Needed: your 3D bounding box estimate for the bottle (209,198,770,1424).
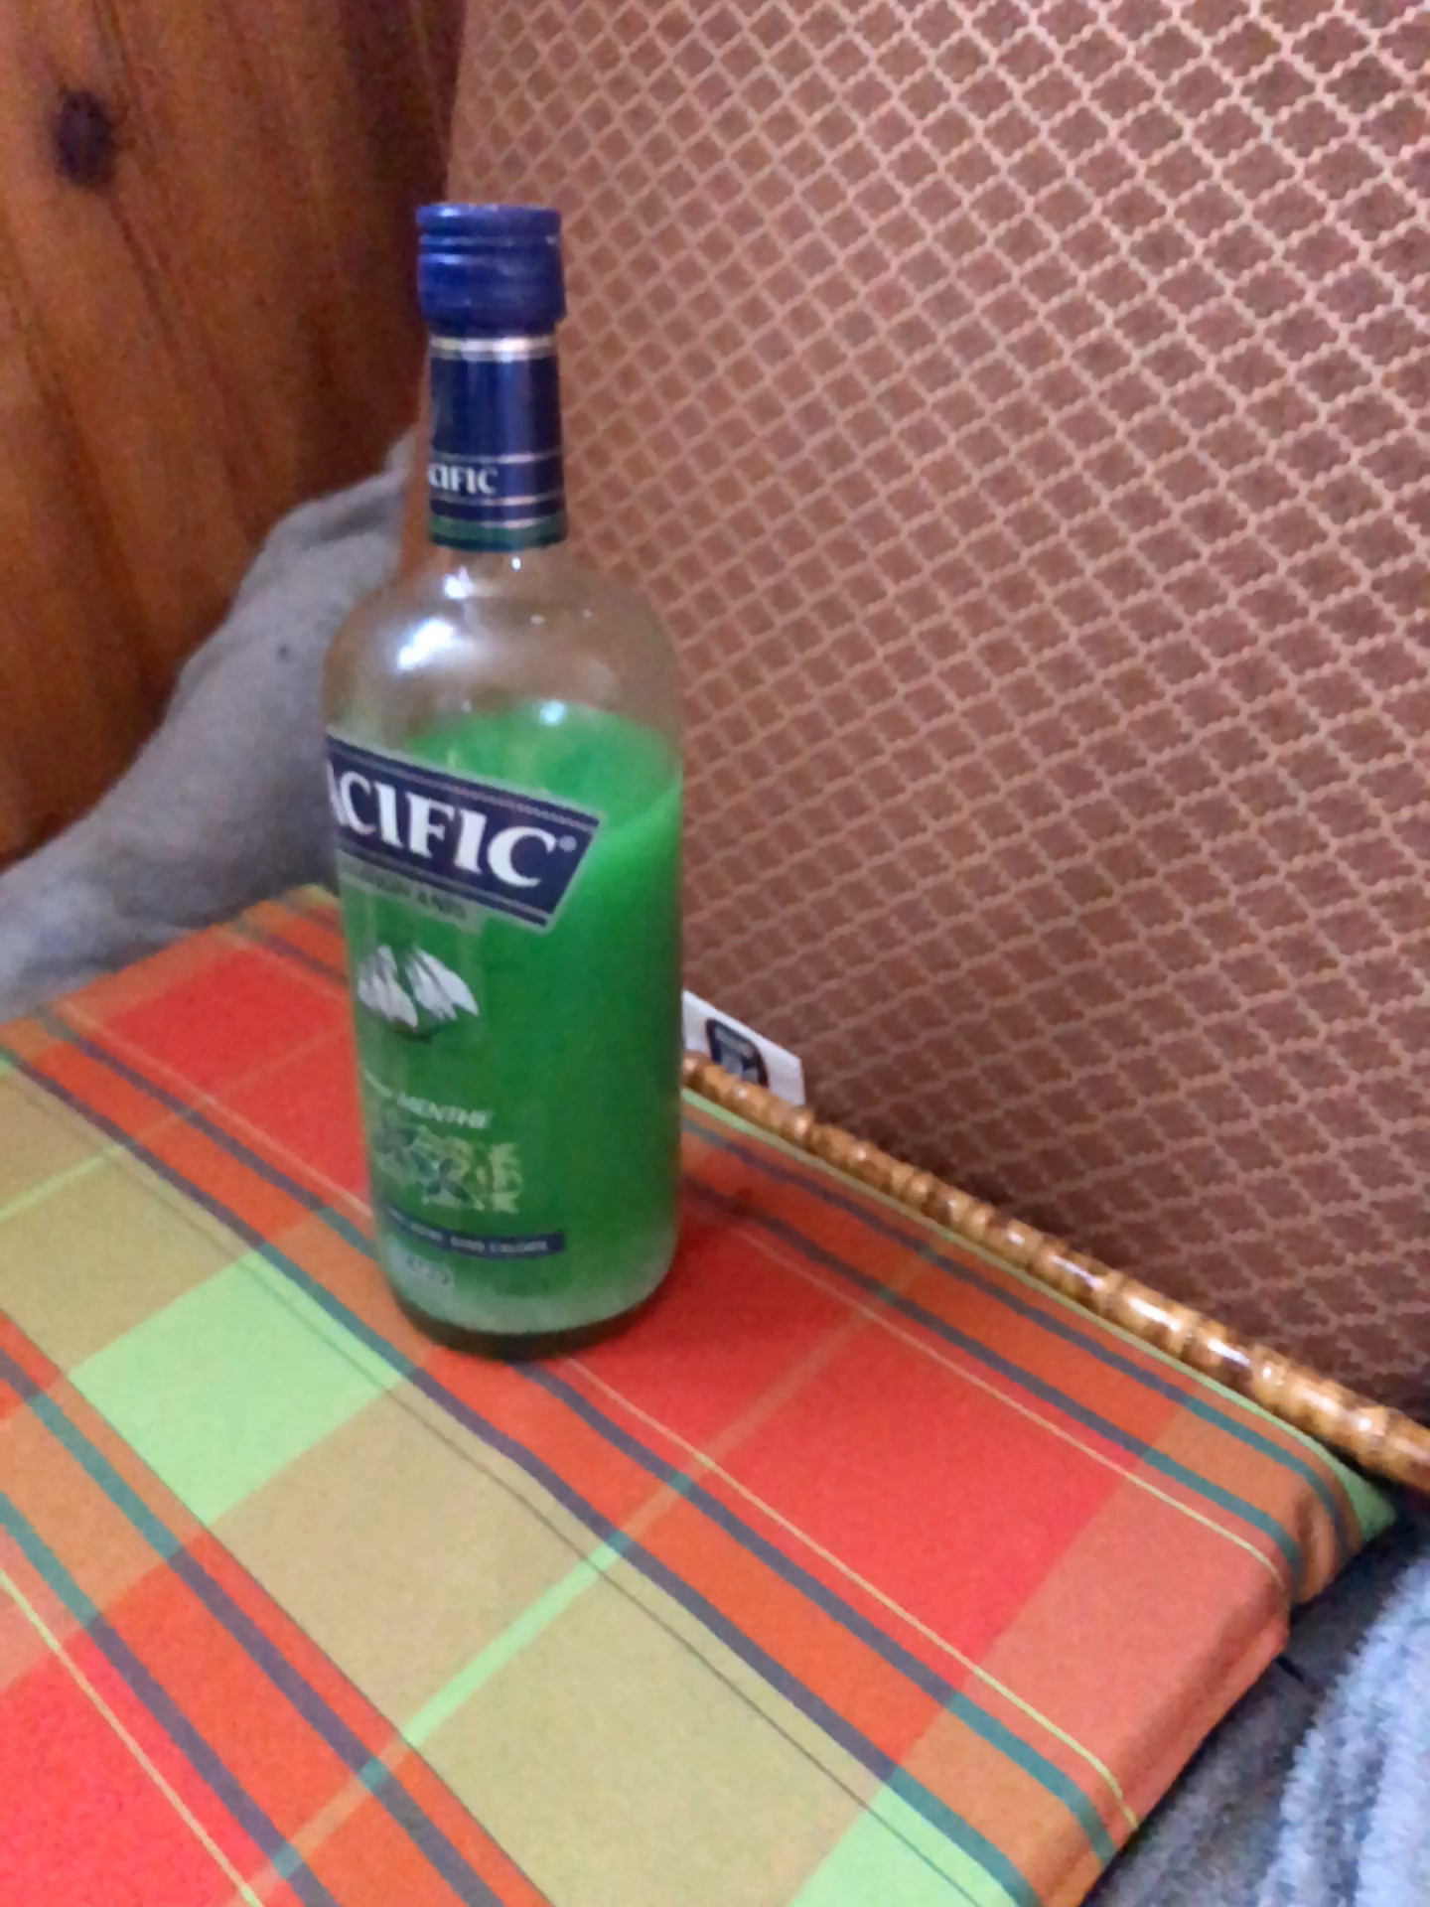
[{"bbox_3d":[-0.049,-0.033,0.408,0.090,0.288,0.080,17,30,31],"label":"bottle"}]
